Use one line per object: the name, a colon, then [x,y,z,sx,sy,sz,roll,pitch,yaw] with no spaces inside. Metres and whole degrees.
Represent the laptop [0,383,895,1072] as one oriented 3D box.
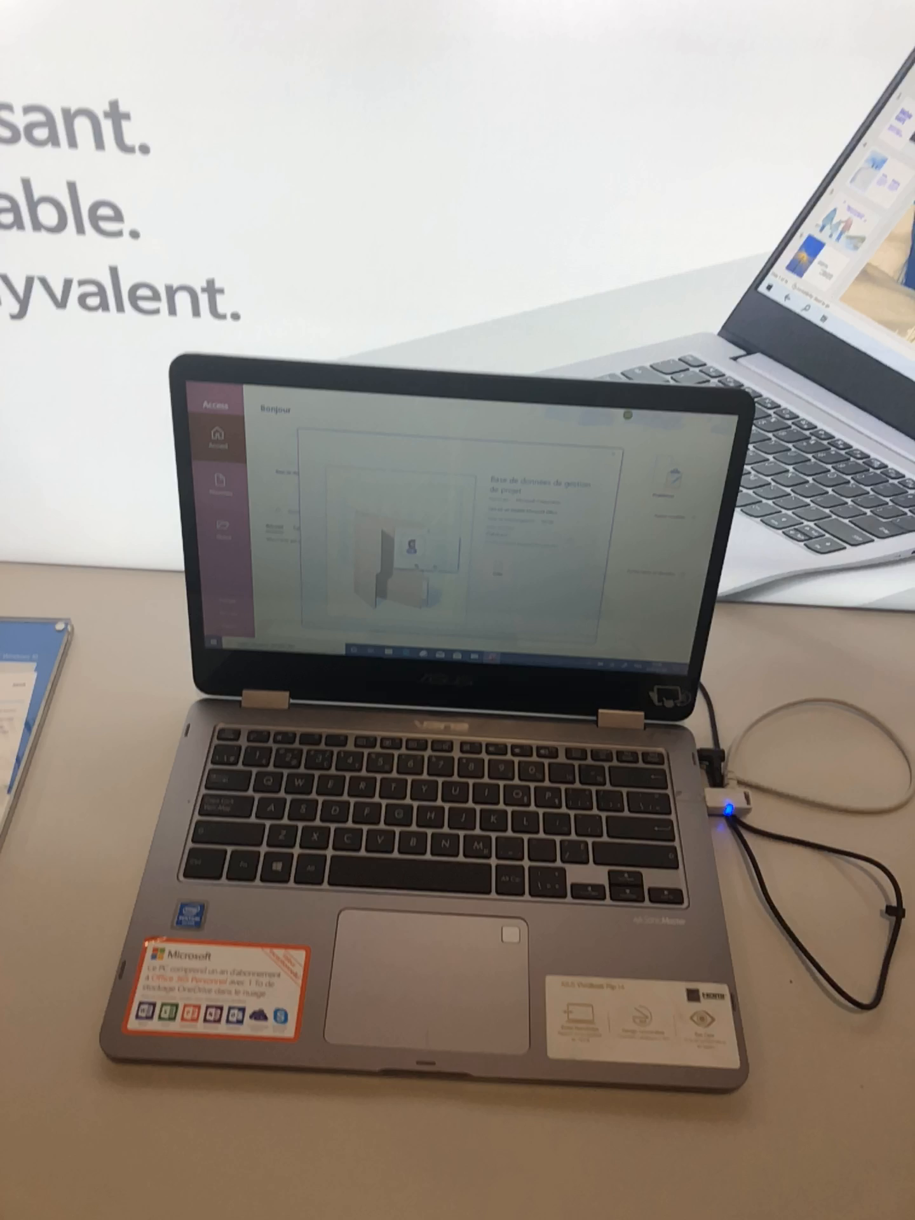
laptop: [-0.005,0.055,0.520,0.311,0.214,0.274,3,45,-1]
